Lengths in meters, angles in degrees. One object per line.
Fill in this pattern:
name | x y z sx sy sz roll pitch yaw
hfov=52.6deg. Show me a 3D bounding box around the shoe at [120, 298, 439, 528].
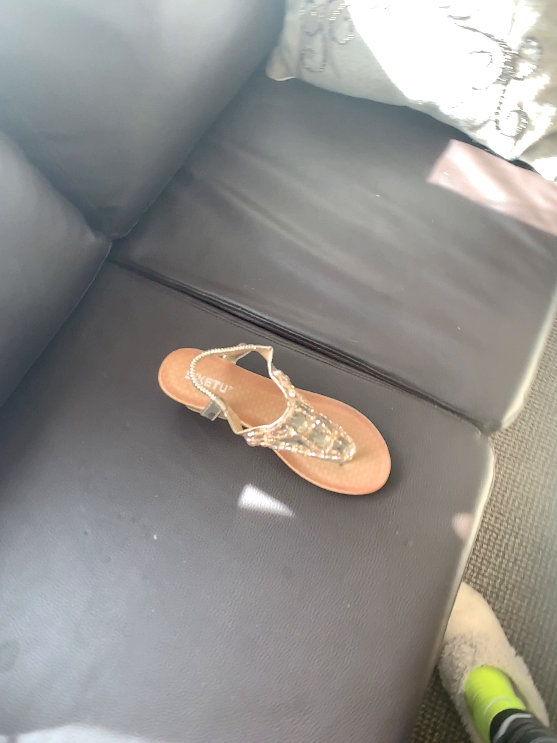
shoe | -0.001 0.048 0.572 0.270 0.139 0.100 22 68 8
